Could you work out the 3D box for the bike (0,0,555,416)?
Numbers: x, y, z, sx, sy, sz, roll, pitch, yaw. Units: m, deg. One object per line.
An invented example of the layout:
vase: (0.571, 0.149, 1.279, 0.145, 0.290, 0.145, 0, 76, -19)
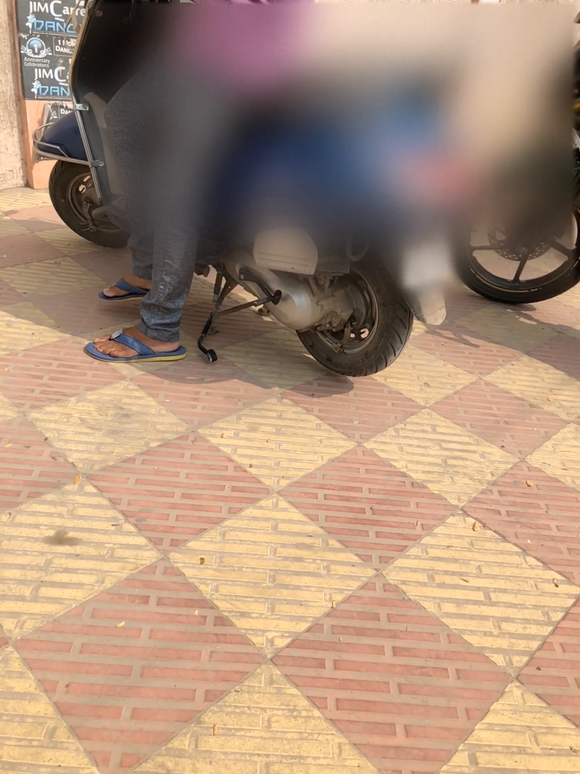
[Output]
bike: (-0.255, -0.805, 2.029, 1.701, 1.037, 0.626, 27, 36, 31)
